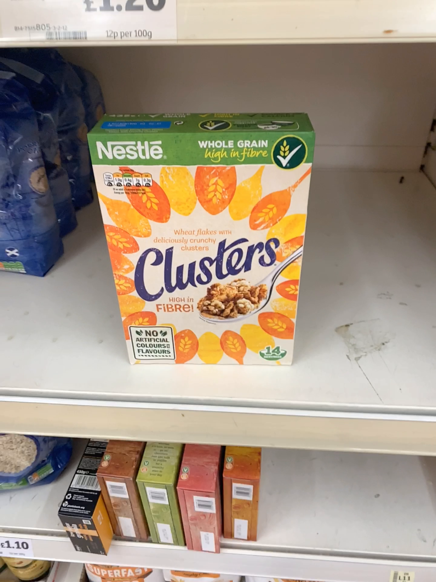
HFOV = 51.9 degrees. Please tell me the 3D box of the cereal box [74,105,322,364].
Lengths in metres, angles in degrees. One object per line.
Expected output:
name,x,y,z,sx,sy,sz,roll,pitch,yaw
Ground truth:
cereal box,-0.014,-0.042,0.463,0.200,0.267,0.061,0,36,1
